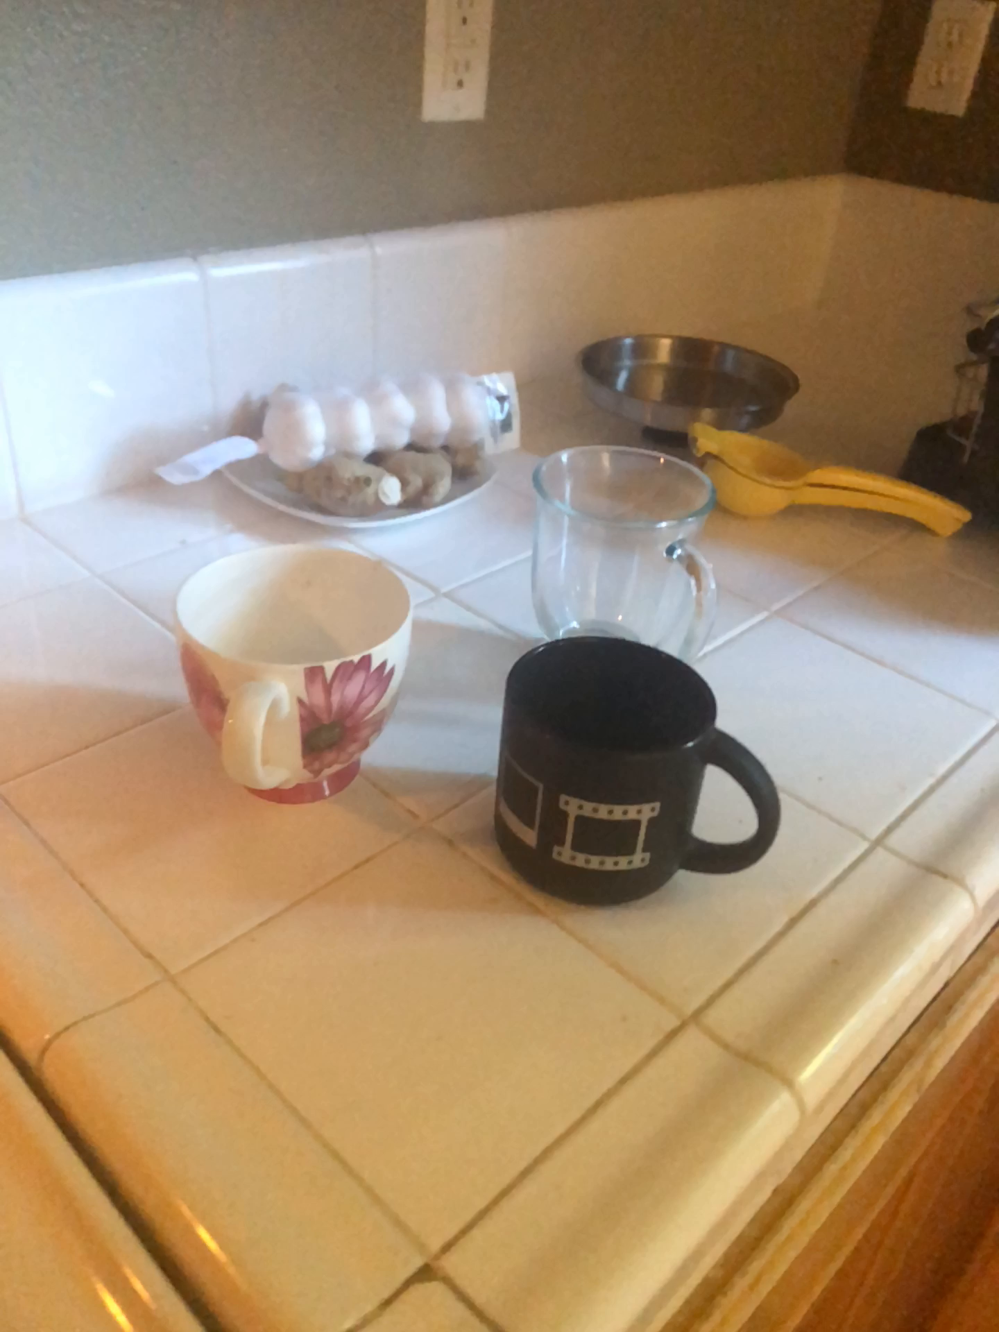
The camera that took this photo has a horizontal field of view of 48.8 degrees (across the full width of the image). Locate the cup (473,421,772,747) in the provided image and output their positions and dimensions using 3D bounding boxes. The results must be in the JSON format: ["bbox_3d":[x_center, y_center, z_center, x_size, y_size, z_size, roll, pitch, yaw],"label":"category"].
[{"bbox_3d":[0.058,-0.049,0.593,0.100,0.119,0.121,-9,37,-21],"label":"cup"}]

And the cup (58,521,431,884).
[{"bbox_3d":[-0.108,0.009,0.507,0.110,0.079,0.141,13,35,9],"label":"cup"}]

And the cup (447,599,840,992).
[{"bbox_3d":[0.061,0.051,0.491,0.130,0.089,0.101,24,38,24],"label":"cup"}]
